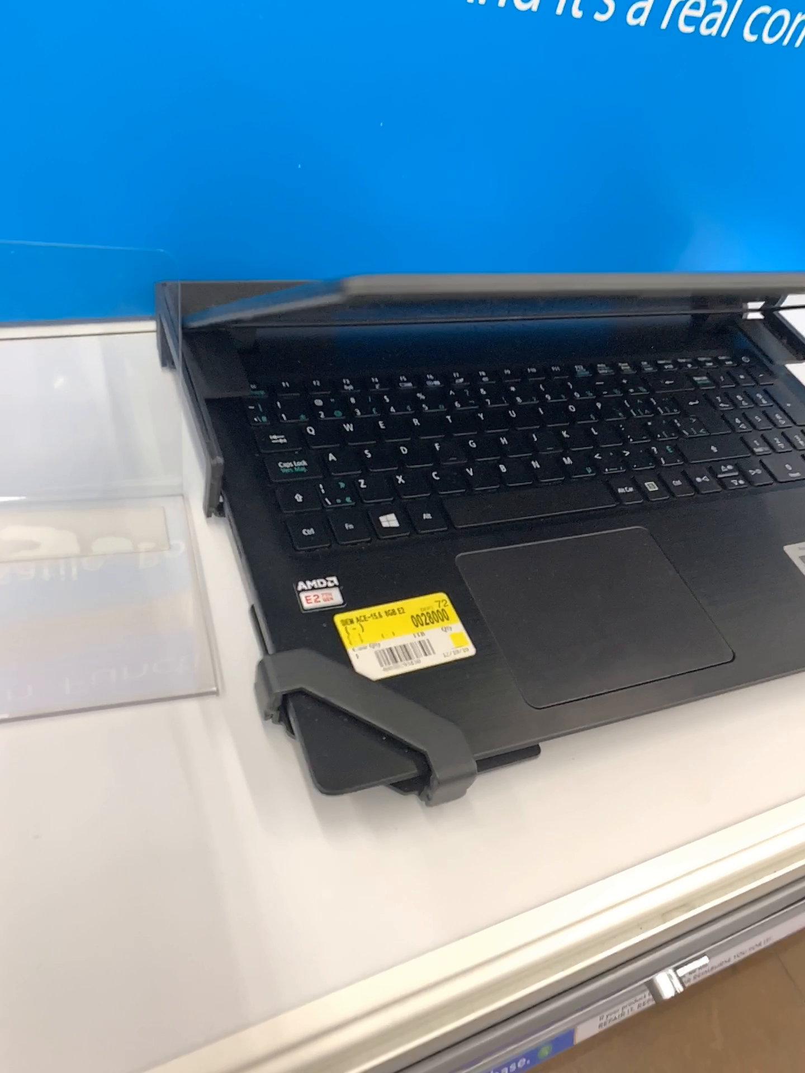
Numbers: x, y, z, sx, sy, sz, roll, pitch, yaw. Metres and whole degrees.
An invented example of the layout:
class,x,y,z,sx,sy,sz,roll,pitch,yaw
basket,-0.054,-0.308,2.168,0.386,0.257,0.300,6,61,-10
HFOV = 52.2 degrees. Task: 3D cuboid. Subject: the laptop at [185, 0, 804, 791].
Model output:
class,x,y,z,sx,sy,sz,roll,pitch,yaw
laptop,0.117,-0.078,0.354,0.365,0.146,0.234,-8,54,-23
